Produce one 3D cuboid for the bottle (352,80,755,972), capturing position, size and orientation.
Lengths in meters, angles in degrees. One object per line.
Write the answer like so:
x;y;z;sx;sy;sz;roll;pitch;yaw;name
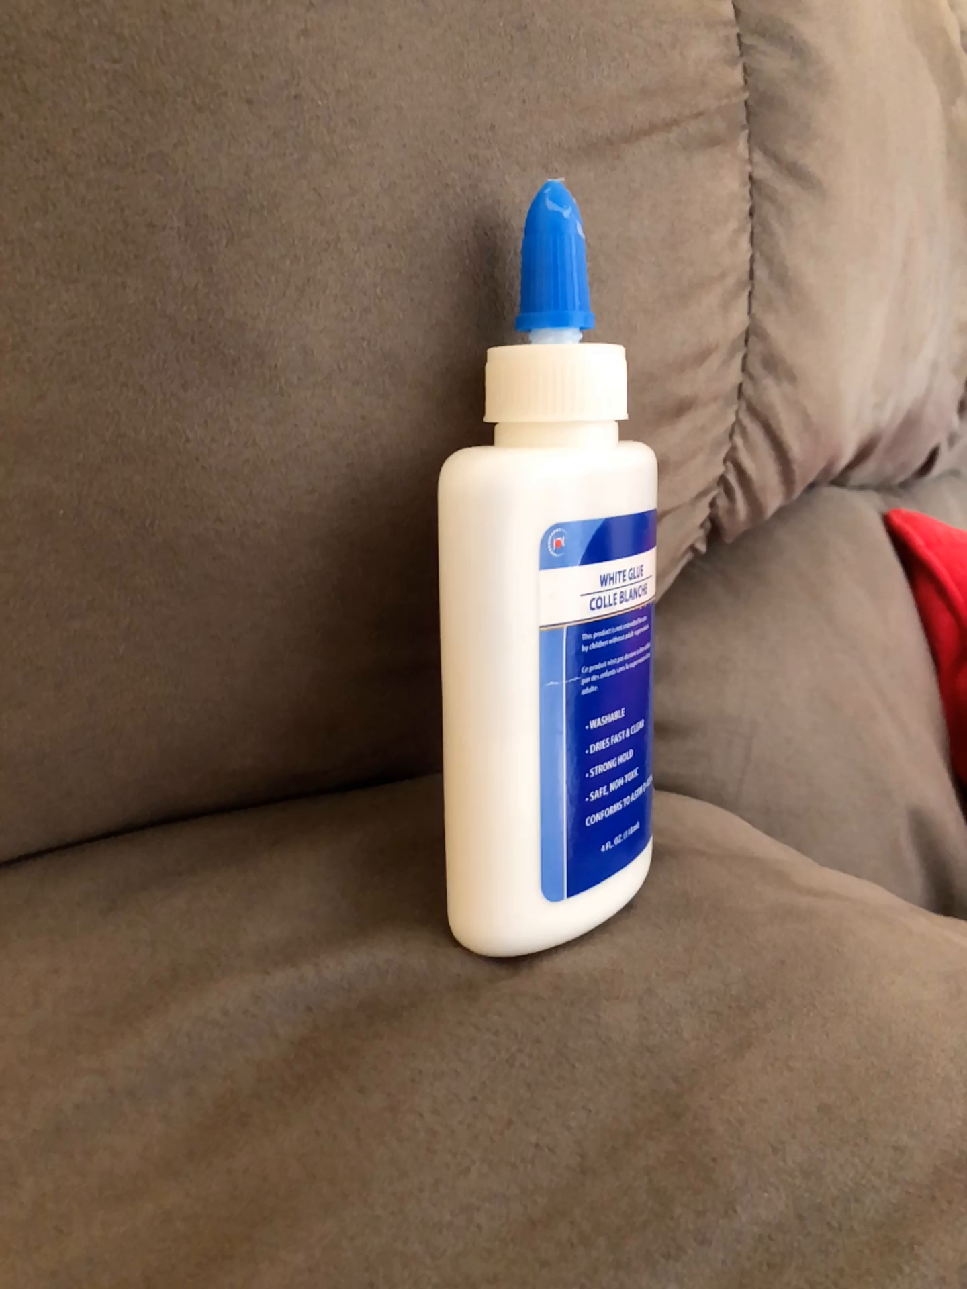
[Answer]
0.017;-0.020;0.198;0.040;0.130;0.070;5;12;33;bottle
